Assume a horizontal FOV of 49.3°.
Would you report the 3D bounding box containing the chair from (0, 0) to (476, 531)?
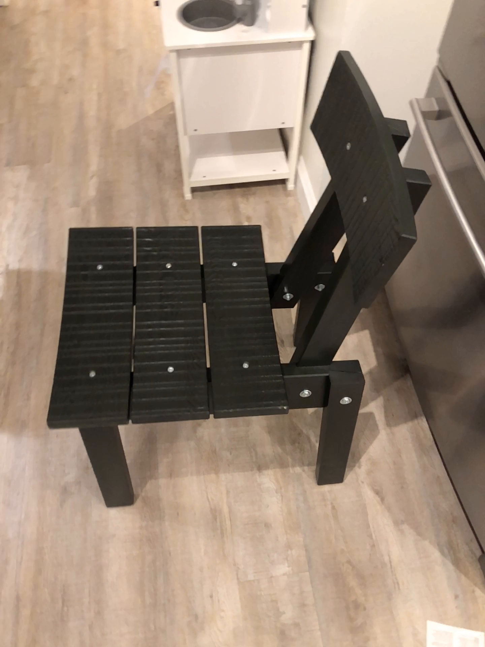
[{"bbox_3d":[-0.072,-0.018,0.922,0.510,0.796,0.523,-4,57,-2],"label":"chair"}]
